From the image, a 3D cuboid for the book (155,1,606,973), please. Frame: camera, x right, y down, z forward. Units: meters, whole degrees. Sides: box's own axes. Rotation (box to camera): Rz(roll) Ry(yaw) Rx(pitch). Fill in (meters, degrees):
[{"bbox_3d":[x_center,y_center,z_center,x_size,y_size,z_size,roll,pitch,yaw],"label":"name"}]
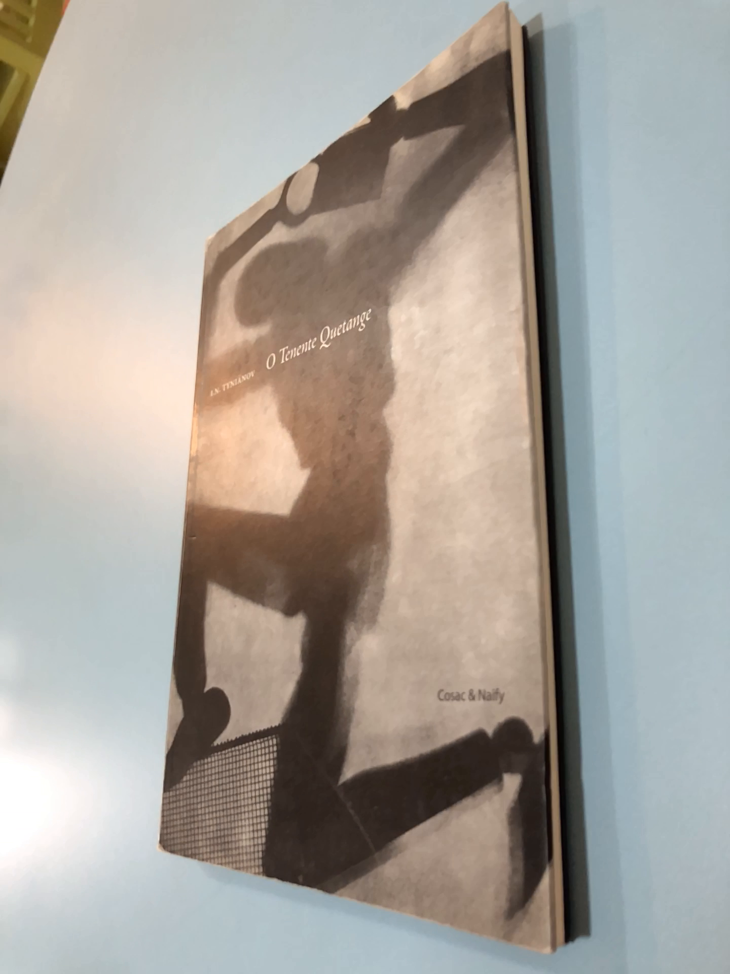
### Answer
[{"bbox_3d":[-0.007,0.000,0.211,0.135,0.016,0.197,-15,69,47],"label":"book"}]
